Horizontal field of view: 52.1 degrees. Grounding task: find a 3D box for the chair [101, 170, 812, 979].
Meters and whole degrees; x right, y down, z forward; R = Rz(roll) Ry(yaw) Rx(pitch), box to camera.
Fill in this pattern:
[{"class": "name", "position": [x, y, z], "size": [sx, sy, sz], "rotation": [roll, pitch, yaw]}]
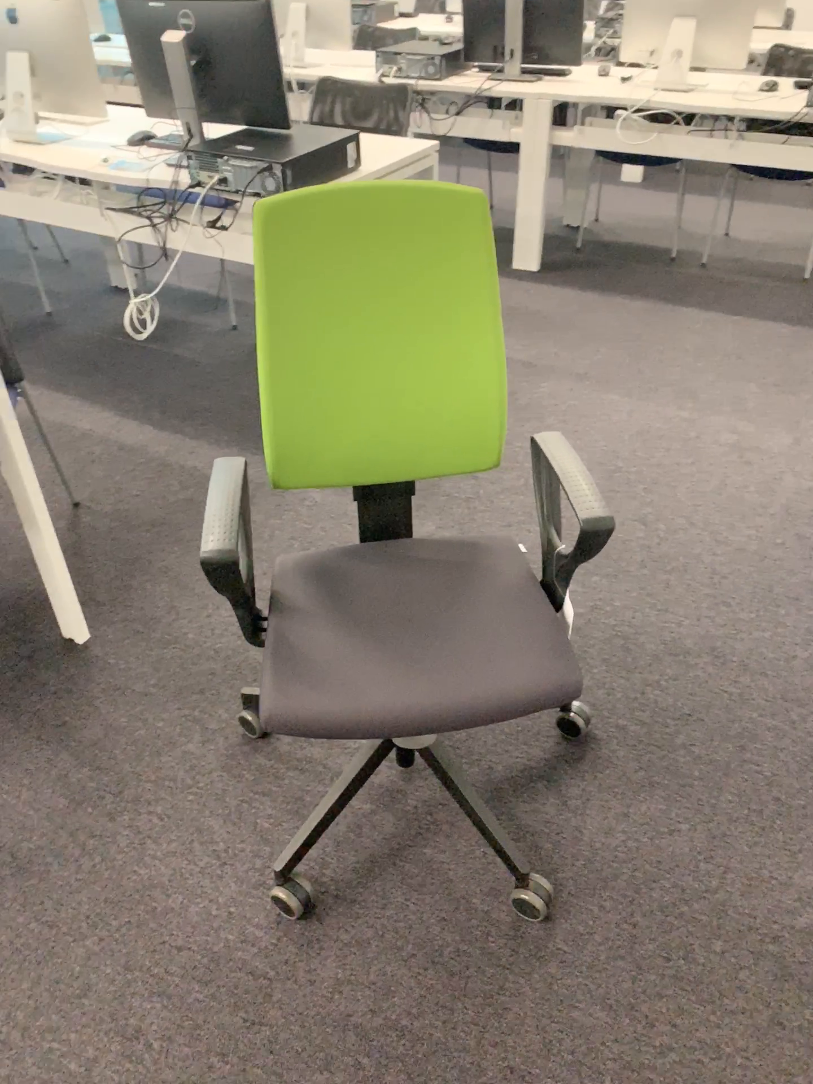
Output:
[{"class": "chair", "position": [0.037, 0.056, 1.357], "size": [0.720, 1.054, 0.673], "rotation": [-6, 38, -7]}]
